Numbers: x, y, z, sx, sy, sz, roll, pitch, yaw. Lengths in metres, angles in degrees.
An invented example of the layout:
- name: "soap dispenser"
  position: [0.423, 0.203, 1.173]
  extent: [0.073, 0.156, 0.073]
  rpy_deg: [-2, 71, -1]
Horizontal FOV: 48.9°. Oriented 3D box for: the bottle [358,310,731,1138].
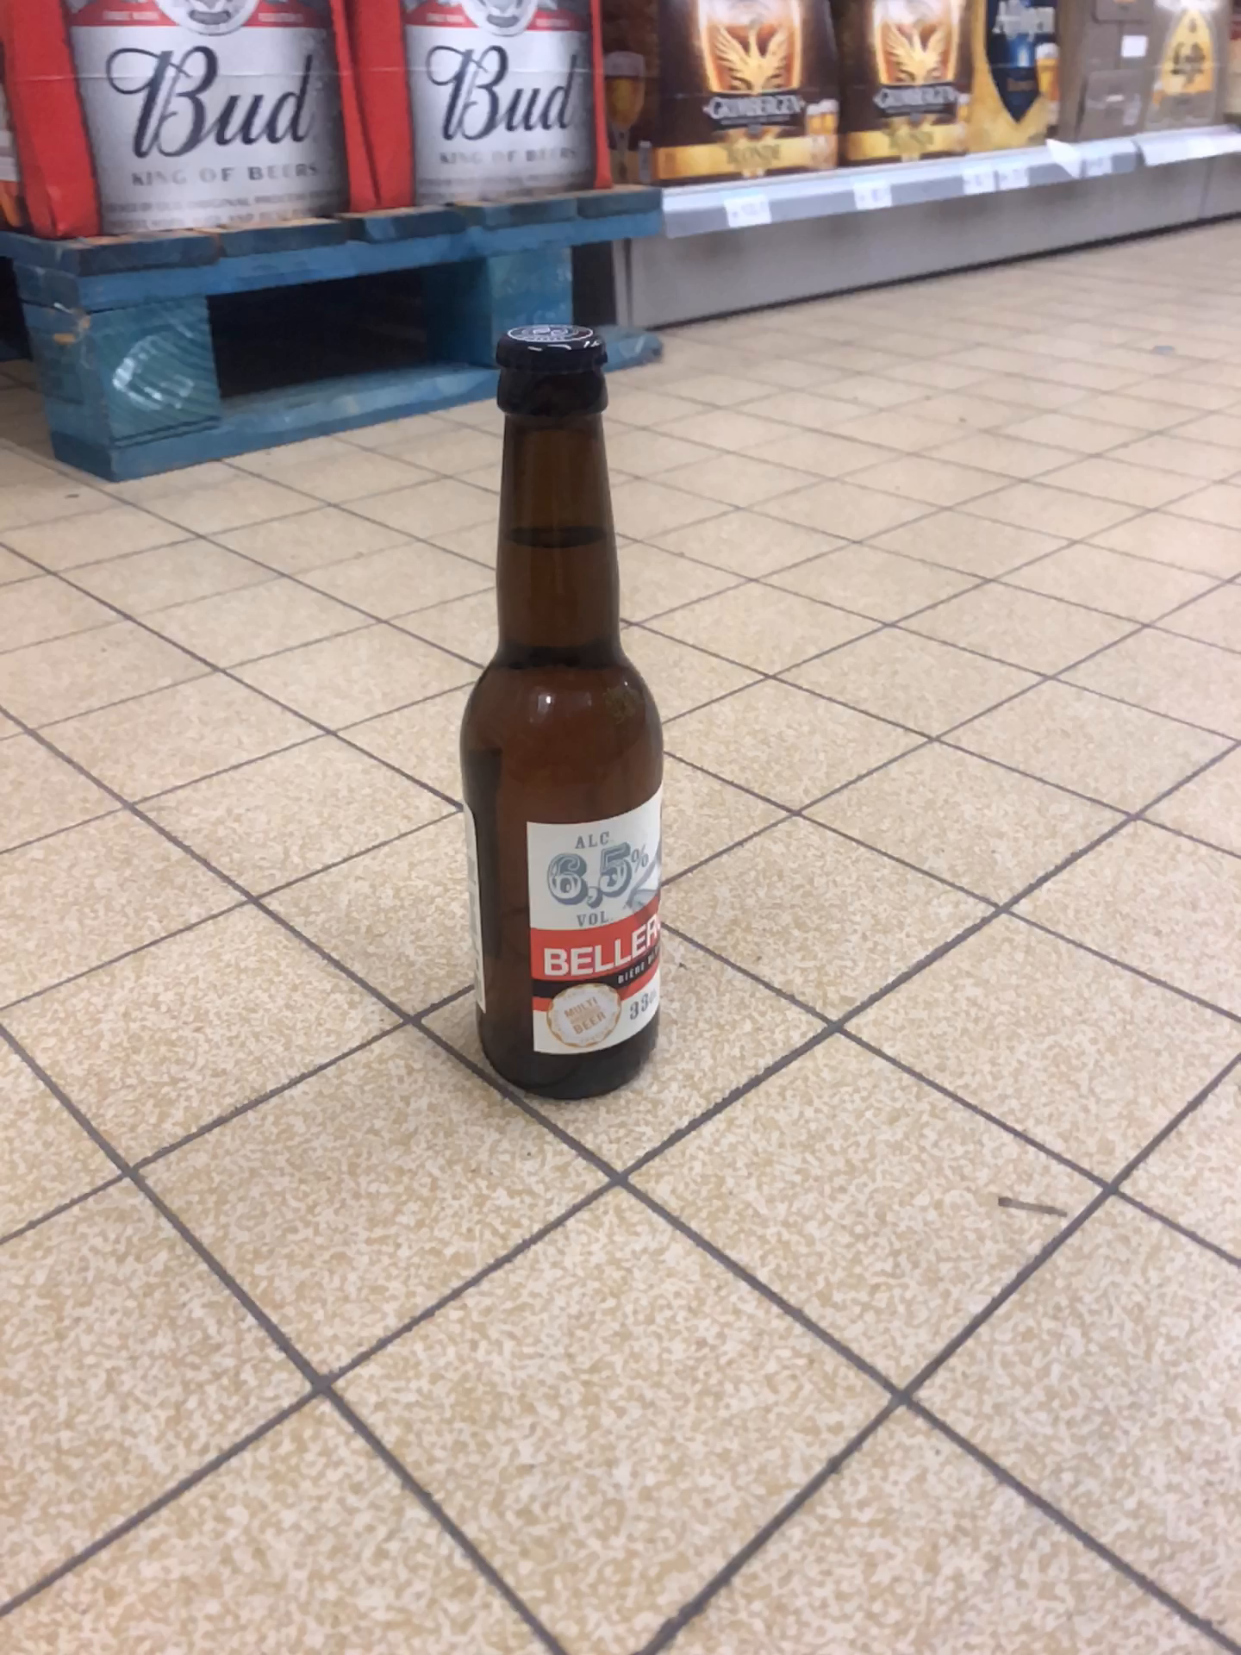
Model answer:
- name: "bottle"
  position: [-0.017, -0.025, 0.390]
  extent: [0.070, 0.219, 0.060]
  rpy_deg: [18, 34, 29]
